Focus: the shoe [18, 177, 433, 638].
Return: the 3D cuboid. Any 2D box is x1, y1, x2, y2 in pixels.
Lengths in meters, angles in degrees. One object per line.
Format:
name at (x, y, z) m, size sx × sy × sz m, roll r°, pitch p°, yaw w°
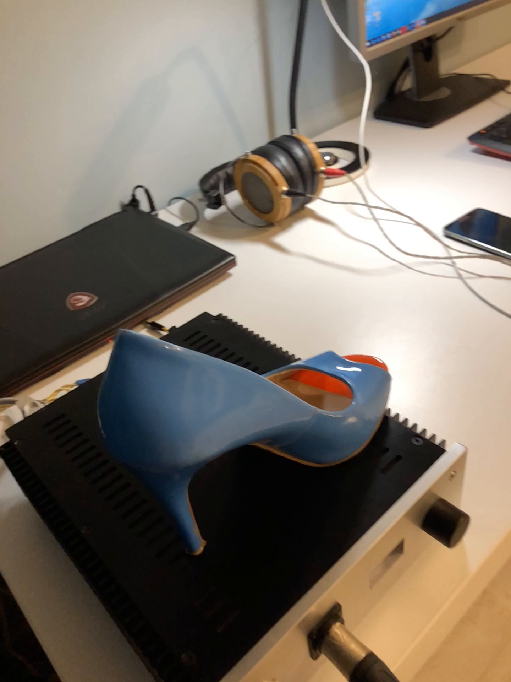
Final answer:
shoe at (0.008, 0.024, 0.330) m, size 0.080 × 0.149 × 0.221 m, roll 25°, pitch 50°, yaw 36°
